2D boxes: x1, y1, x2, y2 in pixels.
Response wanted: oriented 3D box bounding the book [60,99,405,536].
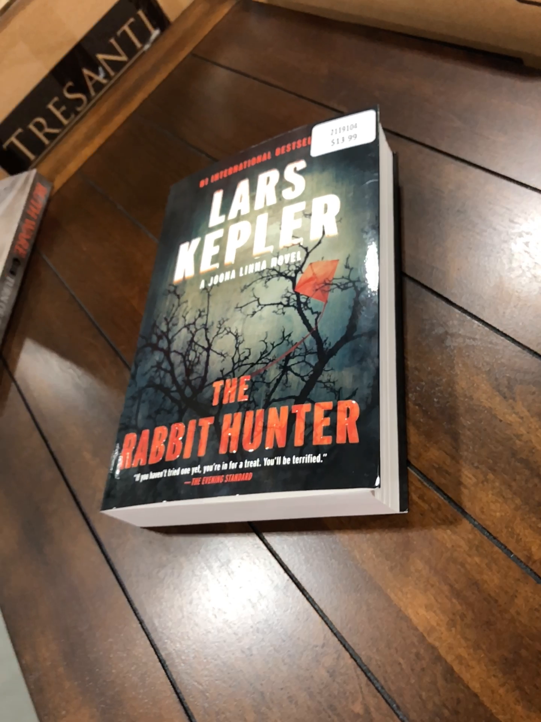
[{"bbox_3d":[-0.013,-0.024,0.333,0.159,0.046,0.222,-10,57,27],"label":"book"}]
